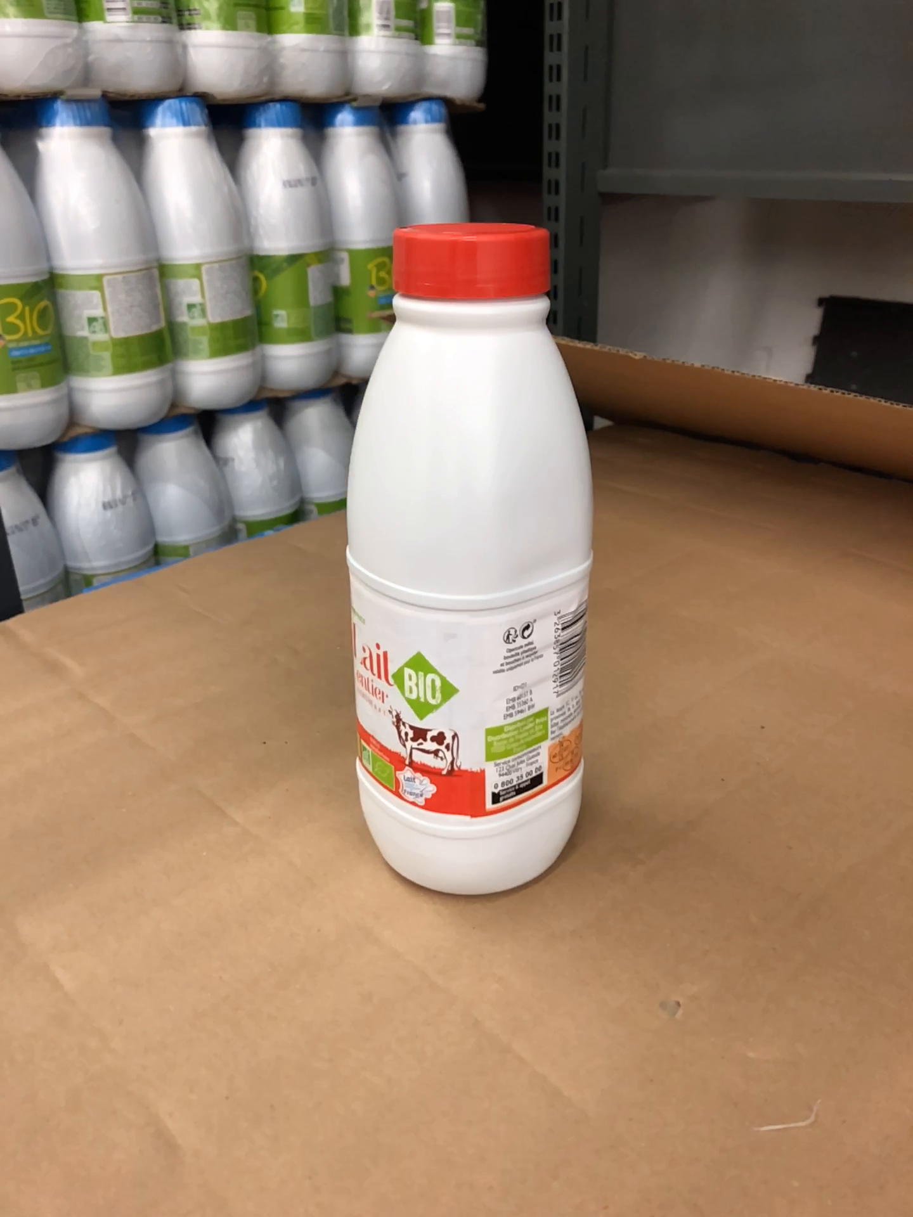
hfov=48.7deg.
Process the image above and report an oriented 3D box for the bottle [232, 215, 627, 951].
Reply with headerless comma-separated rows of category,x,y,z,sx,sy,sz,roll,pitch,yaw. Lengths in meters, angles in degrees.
bottle,-0.006,-0.011,0.354,0.080,0.229,0.090,-23,33,-38
